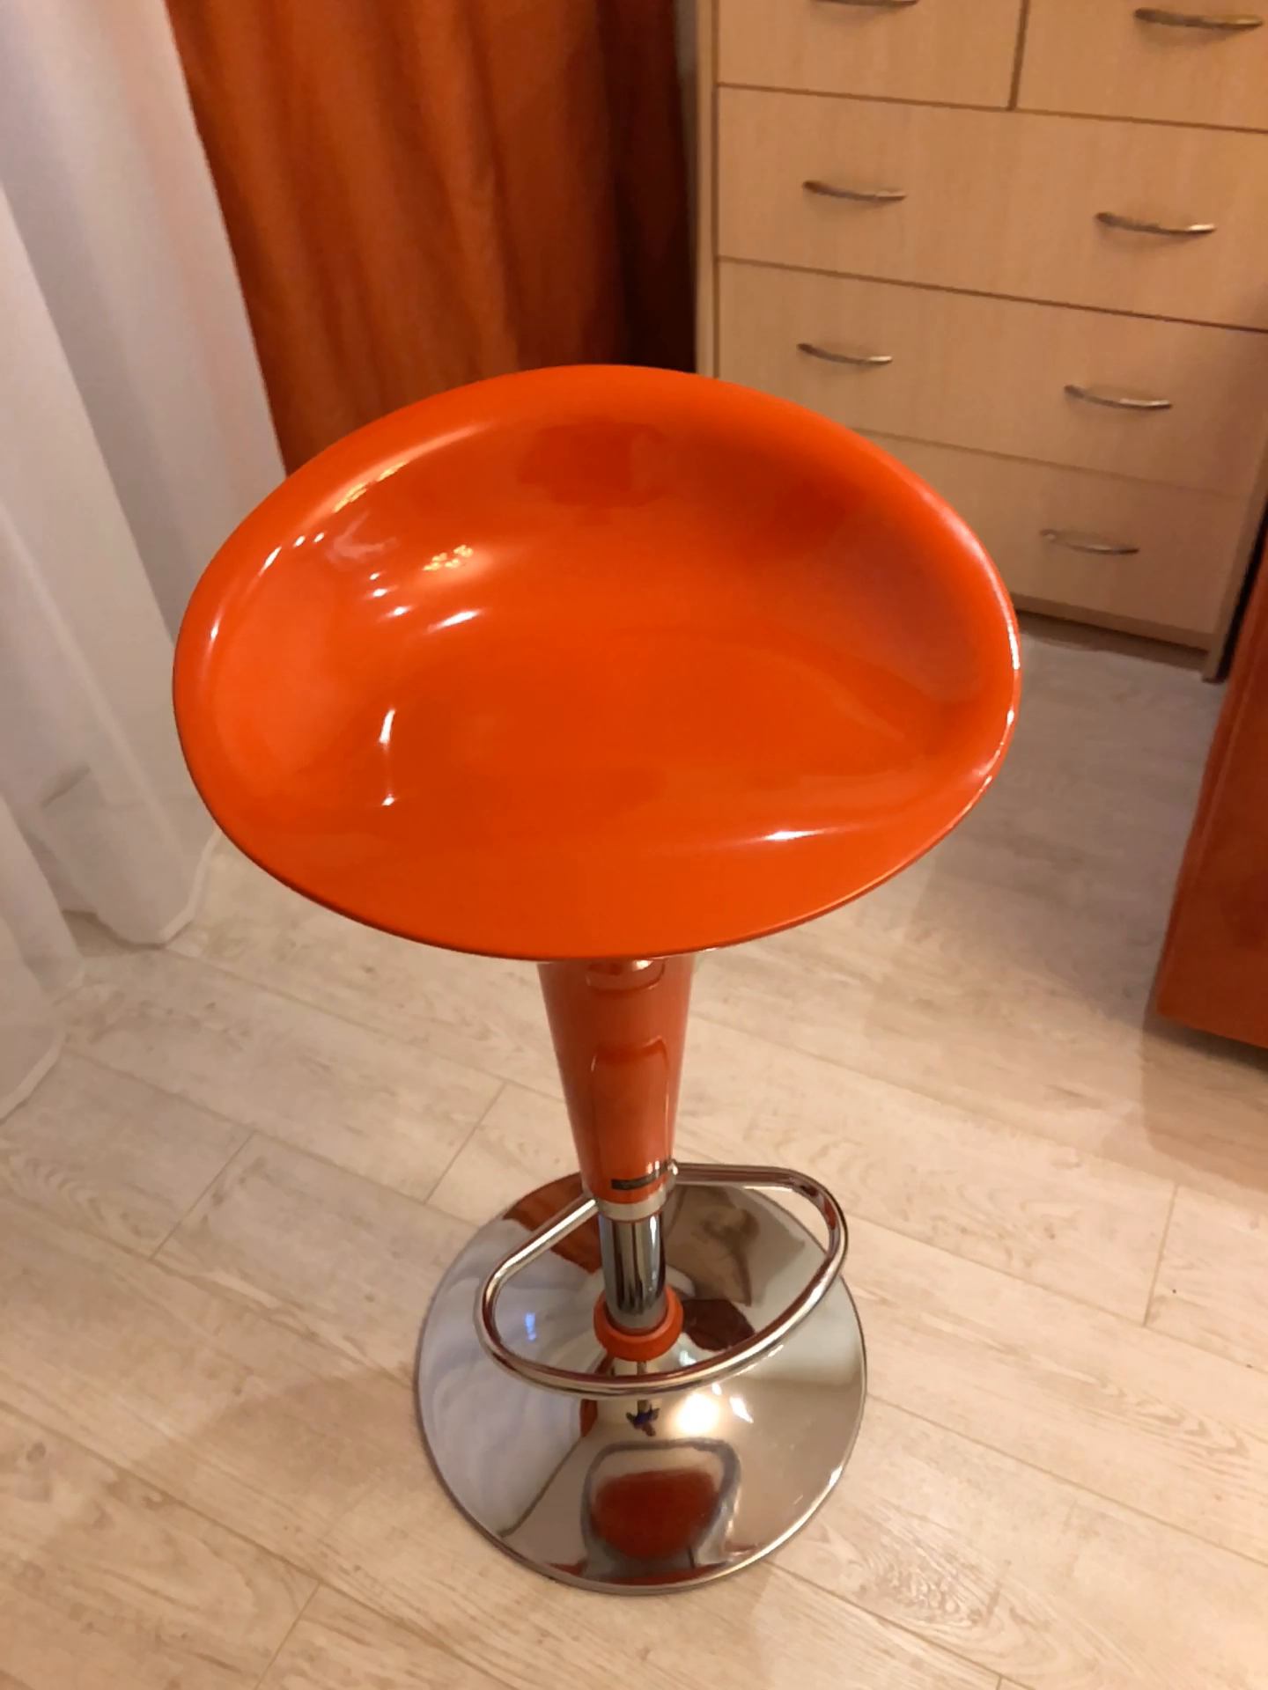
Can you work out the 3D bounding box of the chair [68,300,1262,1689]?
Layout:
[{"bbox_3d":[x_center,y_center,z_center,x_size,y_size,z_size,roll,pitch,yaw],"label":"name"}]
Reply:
[{"bbox_3d":[-0.004,0.135,0.842,0.400,0.735,0.393,-10,43,-8],"label":"chair"}]
